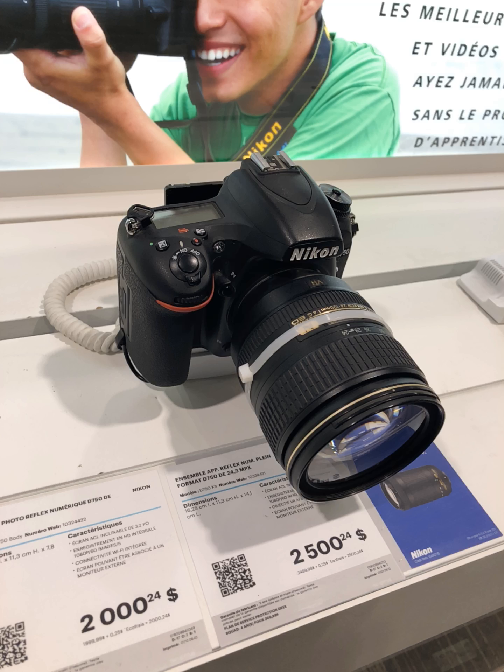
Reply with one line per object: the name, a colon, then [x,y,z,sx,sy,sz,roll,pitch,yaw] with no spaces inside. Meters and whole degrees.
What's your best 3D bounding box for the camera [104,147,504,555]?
camera: [0.013,-0.013,0.299,0.138,0.099,0.184,-11,44,-23]
